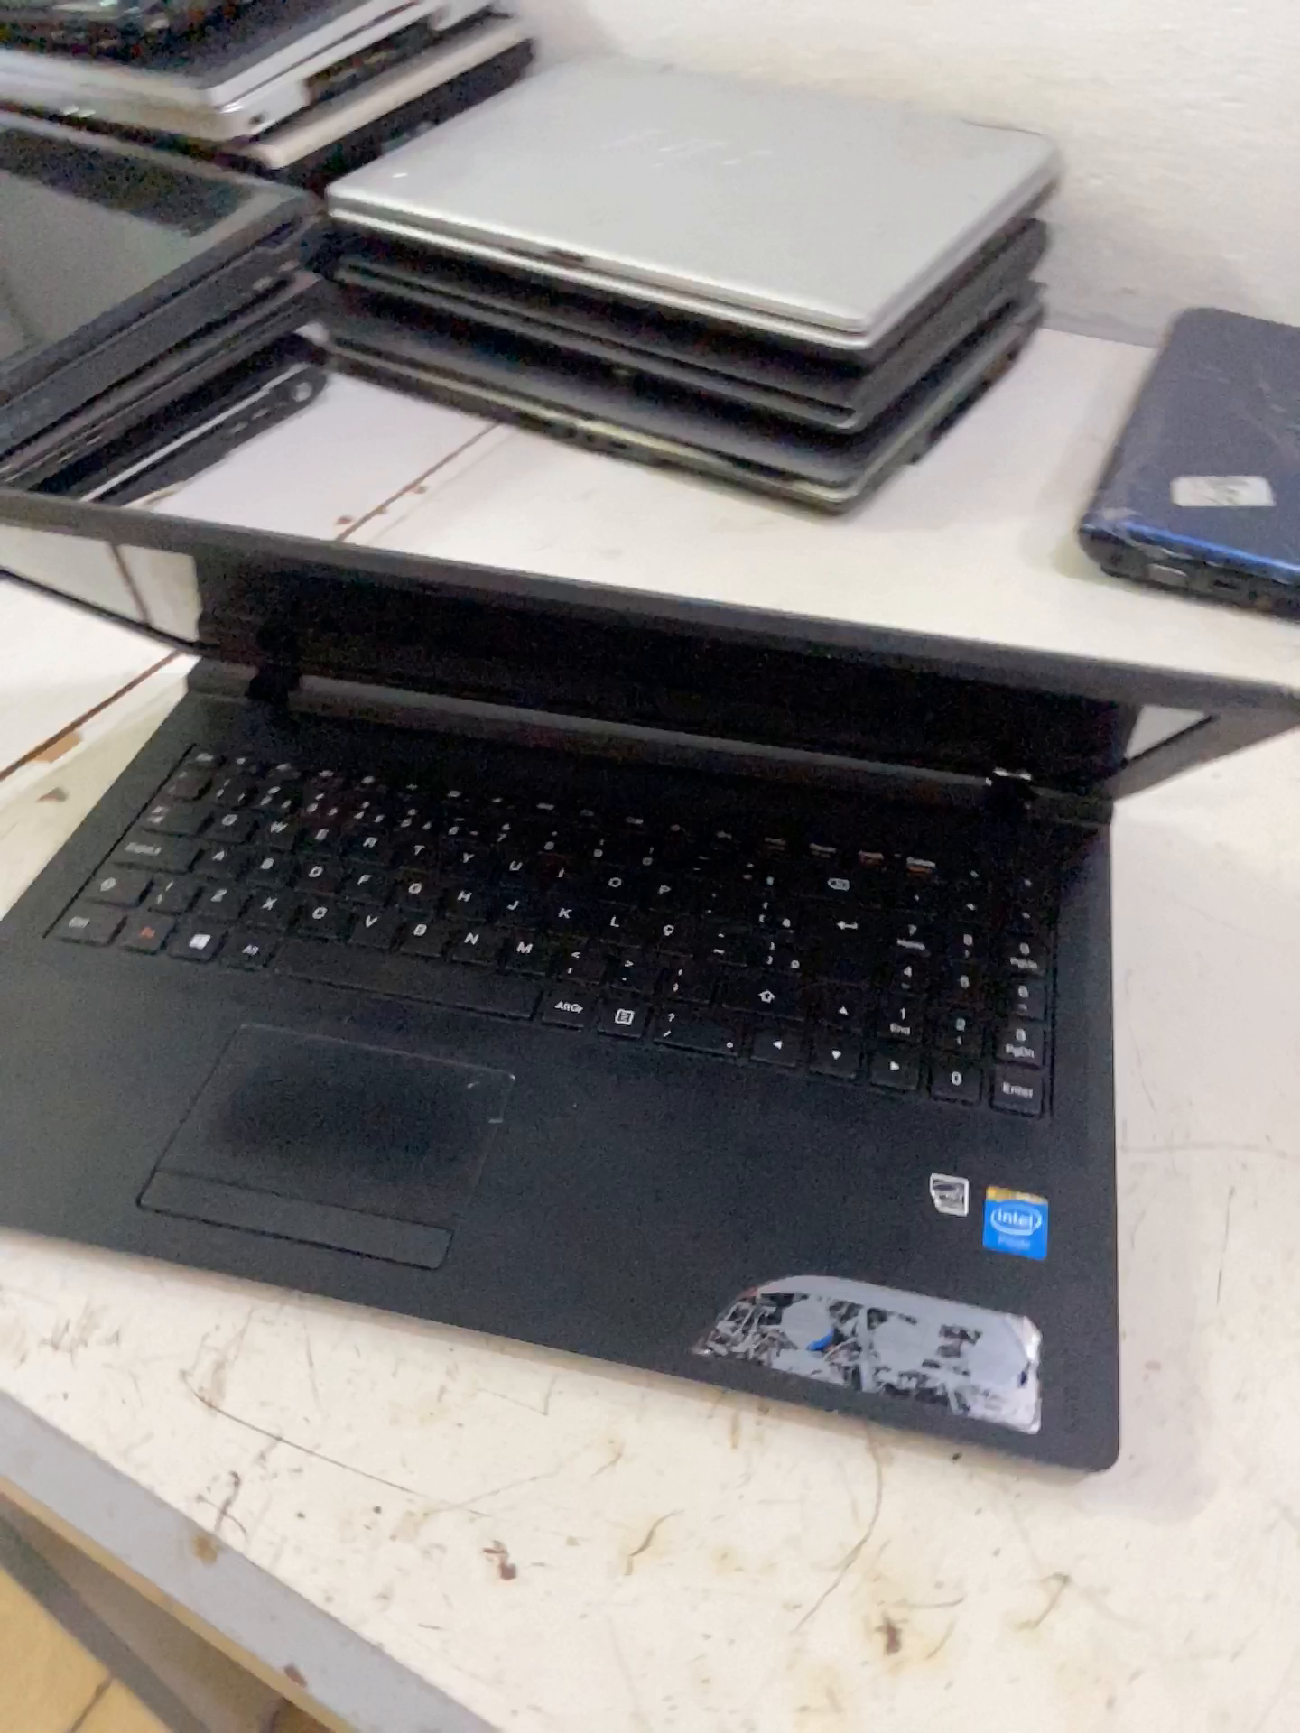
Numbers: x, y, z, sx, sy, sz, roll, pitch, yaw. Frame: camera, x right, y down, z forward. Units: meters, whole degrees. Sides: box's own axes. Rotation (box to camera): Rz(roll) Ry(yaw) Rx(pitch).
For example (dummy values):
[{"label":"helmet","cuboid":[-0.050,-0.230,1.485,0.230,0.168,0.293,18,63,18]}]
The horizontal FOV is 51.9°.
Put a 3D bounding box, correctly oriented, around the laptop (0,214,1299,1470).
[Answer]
[{"label":"laptop","cuboid":[-0.038,-0.033,0.389,0.375,0.189,0.259,9,45,10]}]
